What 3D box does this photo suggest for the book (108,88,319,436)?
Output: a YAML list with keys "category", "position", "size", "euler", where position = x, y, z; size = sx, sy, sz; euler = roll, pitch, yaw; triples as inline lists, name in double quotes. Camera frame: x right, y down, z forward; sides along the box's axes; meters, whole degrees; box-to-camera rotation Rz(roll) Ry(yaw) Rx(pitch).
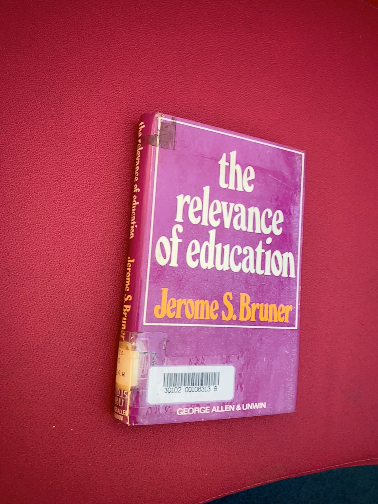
- category: "book"
  position: [0.025, 0.010, 0.305]
  size: [0.150, 0.040, 0.230]
  euler: [6, 85, -24]
